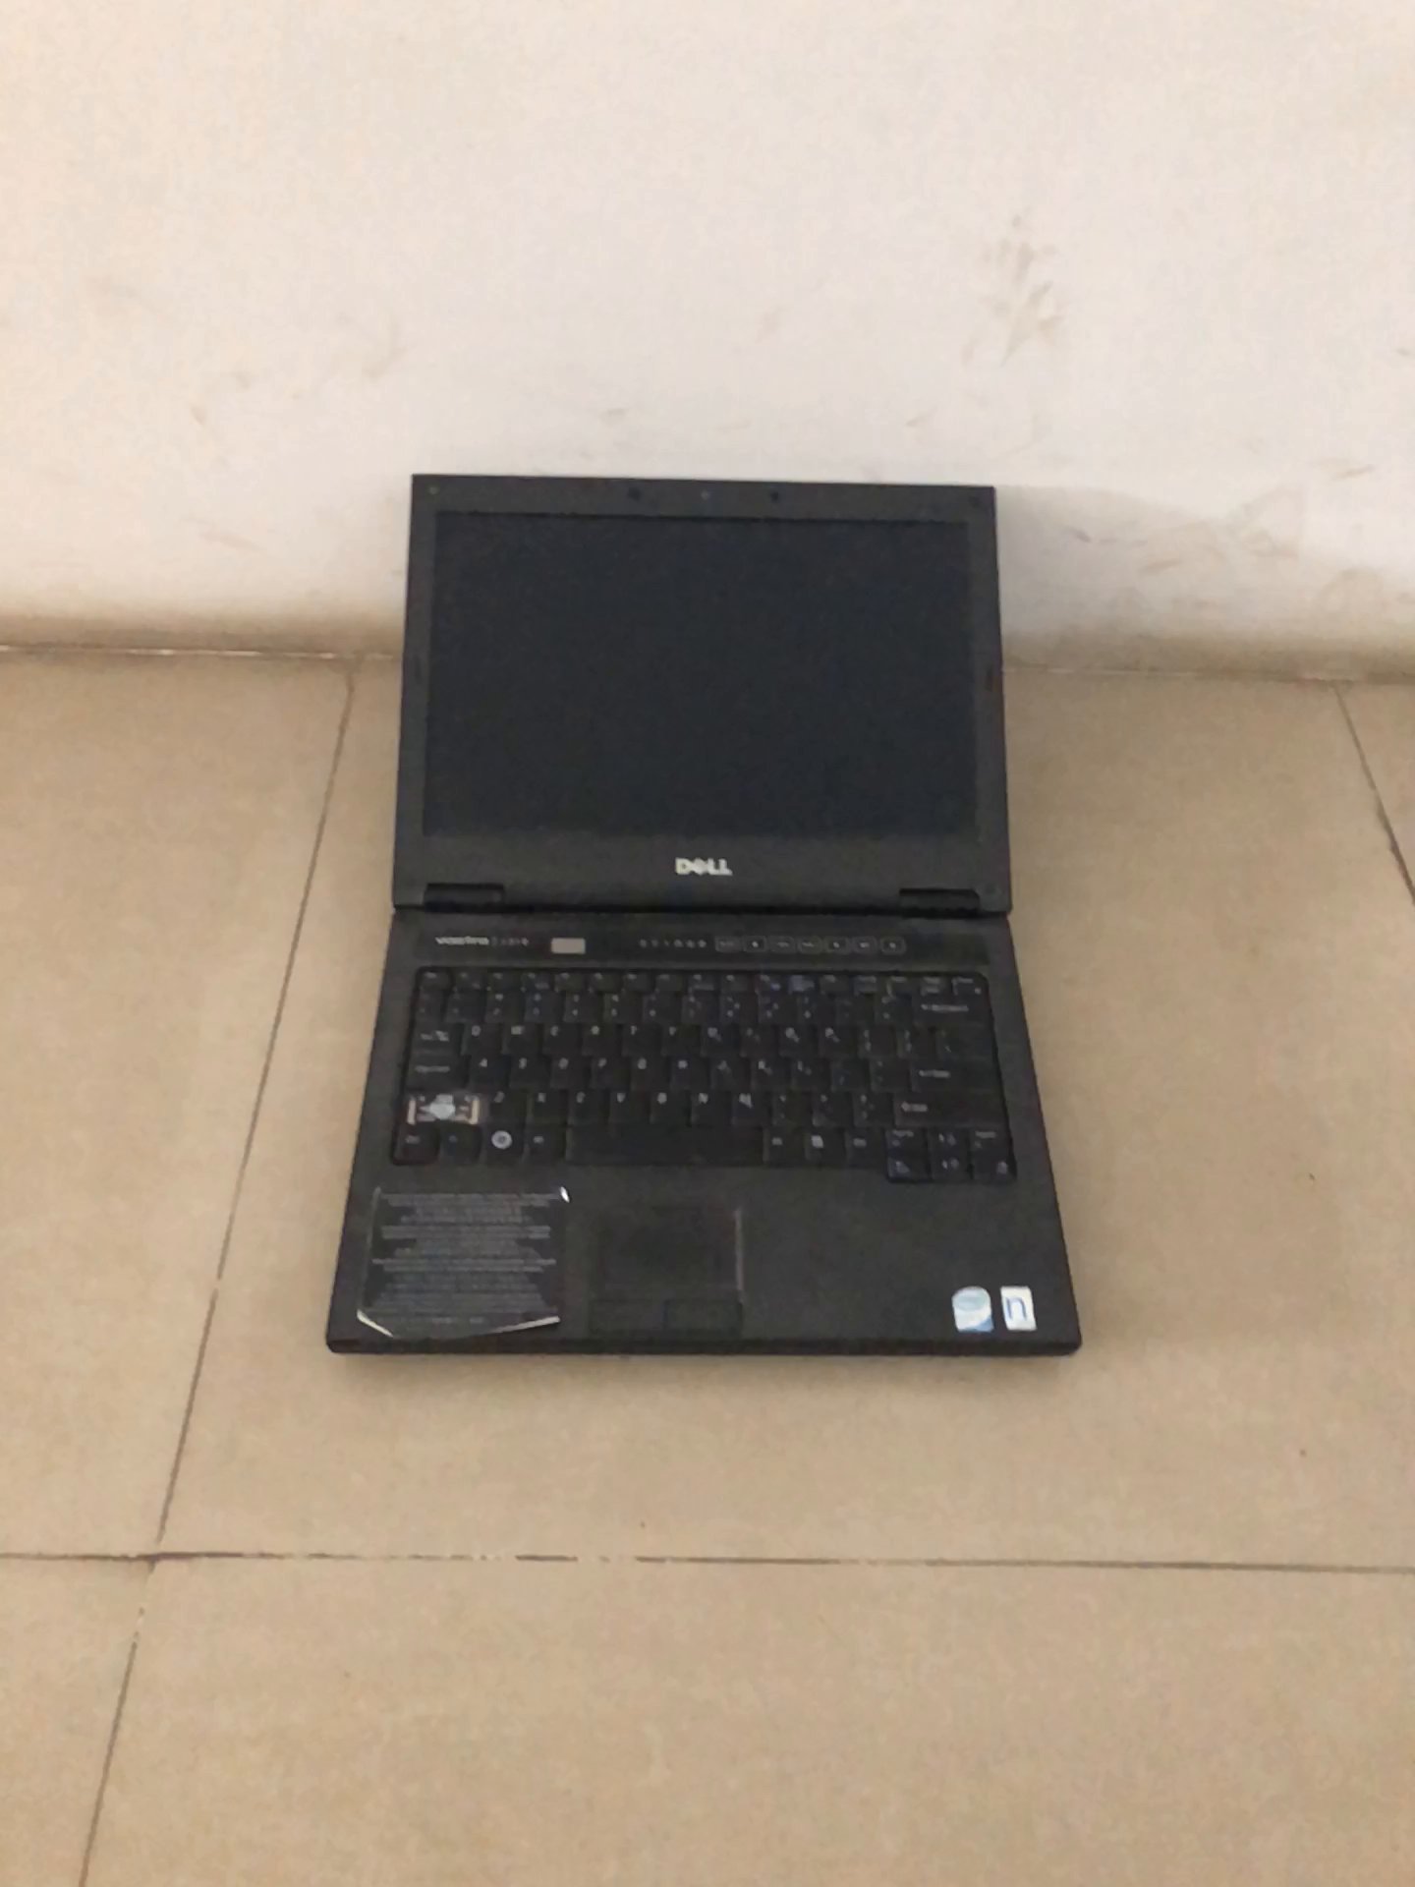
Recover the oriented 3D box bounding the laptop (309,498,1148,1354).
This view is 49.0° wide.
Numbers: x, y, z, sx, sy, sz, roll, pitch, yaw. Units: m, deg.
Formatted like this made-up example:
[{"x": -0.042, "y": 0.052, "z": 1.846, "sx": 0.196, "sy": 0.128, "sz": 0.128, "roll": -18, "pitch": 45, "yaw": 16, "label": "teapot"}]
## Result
[{"x": 0.005, "y": -0.035, "z": 0.735, "sx": 0.299, "sy": 0.114, "sz": 0.434, "roll": 0, "pitch": 50, "yaw": -1, "label": "laptop"}]
